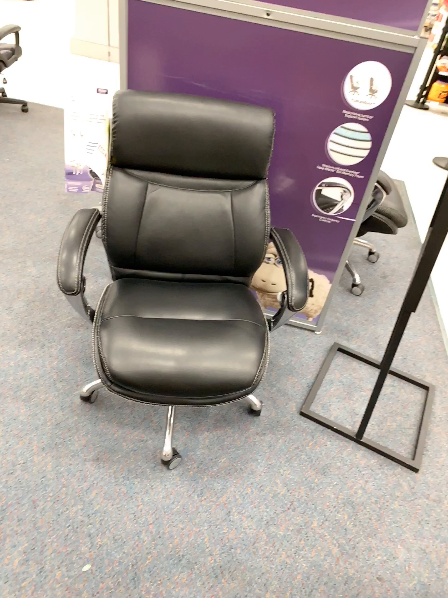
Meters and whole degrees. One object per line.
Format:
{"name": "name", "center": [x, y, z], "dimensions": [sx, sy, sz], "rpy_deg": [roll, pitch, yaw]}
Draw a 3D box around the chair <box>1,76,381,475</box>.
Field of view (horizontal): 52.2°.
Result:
{"name": "chair", "center": [-0.127, -0.062, 1.484], "dimensions": [0.738, 0.946, 0.785], "rpy_deg": [5, 39, -7]}
